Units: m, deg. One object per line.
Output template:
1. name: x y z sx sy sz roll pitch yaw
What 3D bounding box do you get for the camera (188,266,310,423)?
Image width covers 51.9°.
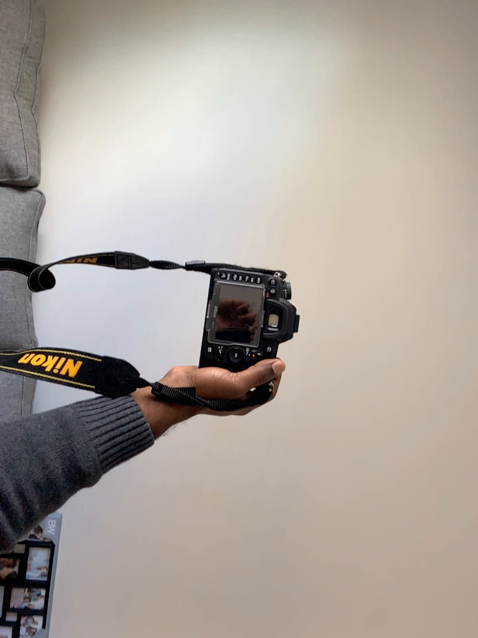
1. camera: 0.009 0.027 0.637 0.170 0.114 0.160 -154 -107 -87
